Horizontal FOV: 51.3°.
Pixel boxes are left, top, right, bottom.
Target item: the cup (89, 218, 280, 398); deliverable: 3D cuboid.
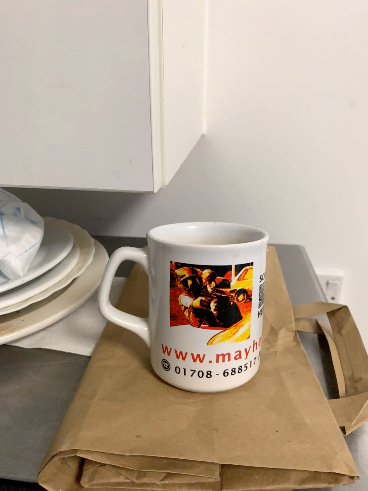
[{"bbox_3d":[0.001,0.033,0.247,0.100,0.088,0.078,1,13,2],"label":"cup"}]
